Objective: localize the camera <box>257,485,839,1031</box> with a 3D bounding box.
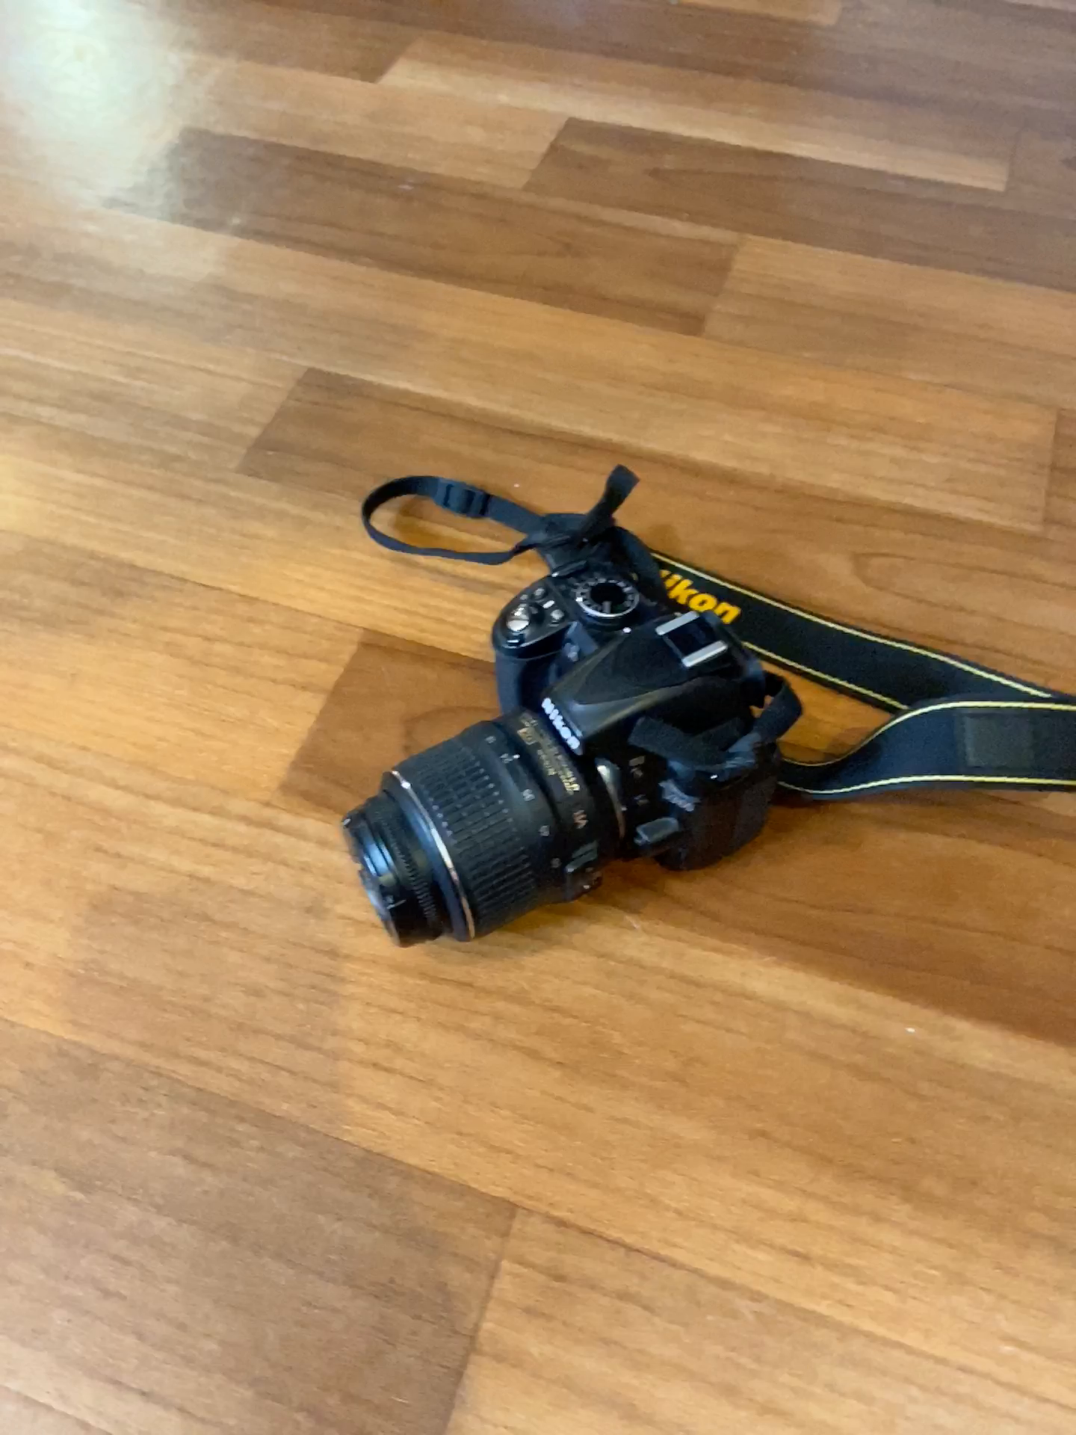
[{"bbox_3d":[0.002,0.011,0.417,0.162,0.090,0.121,-26,58,-17],"label":"camera"}]
